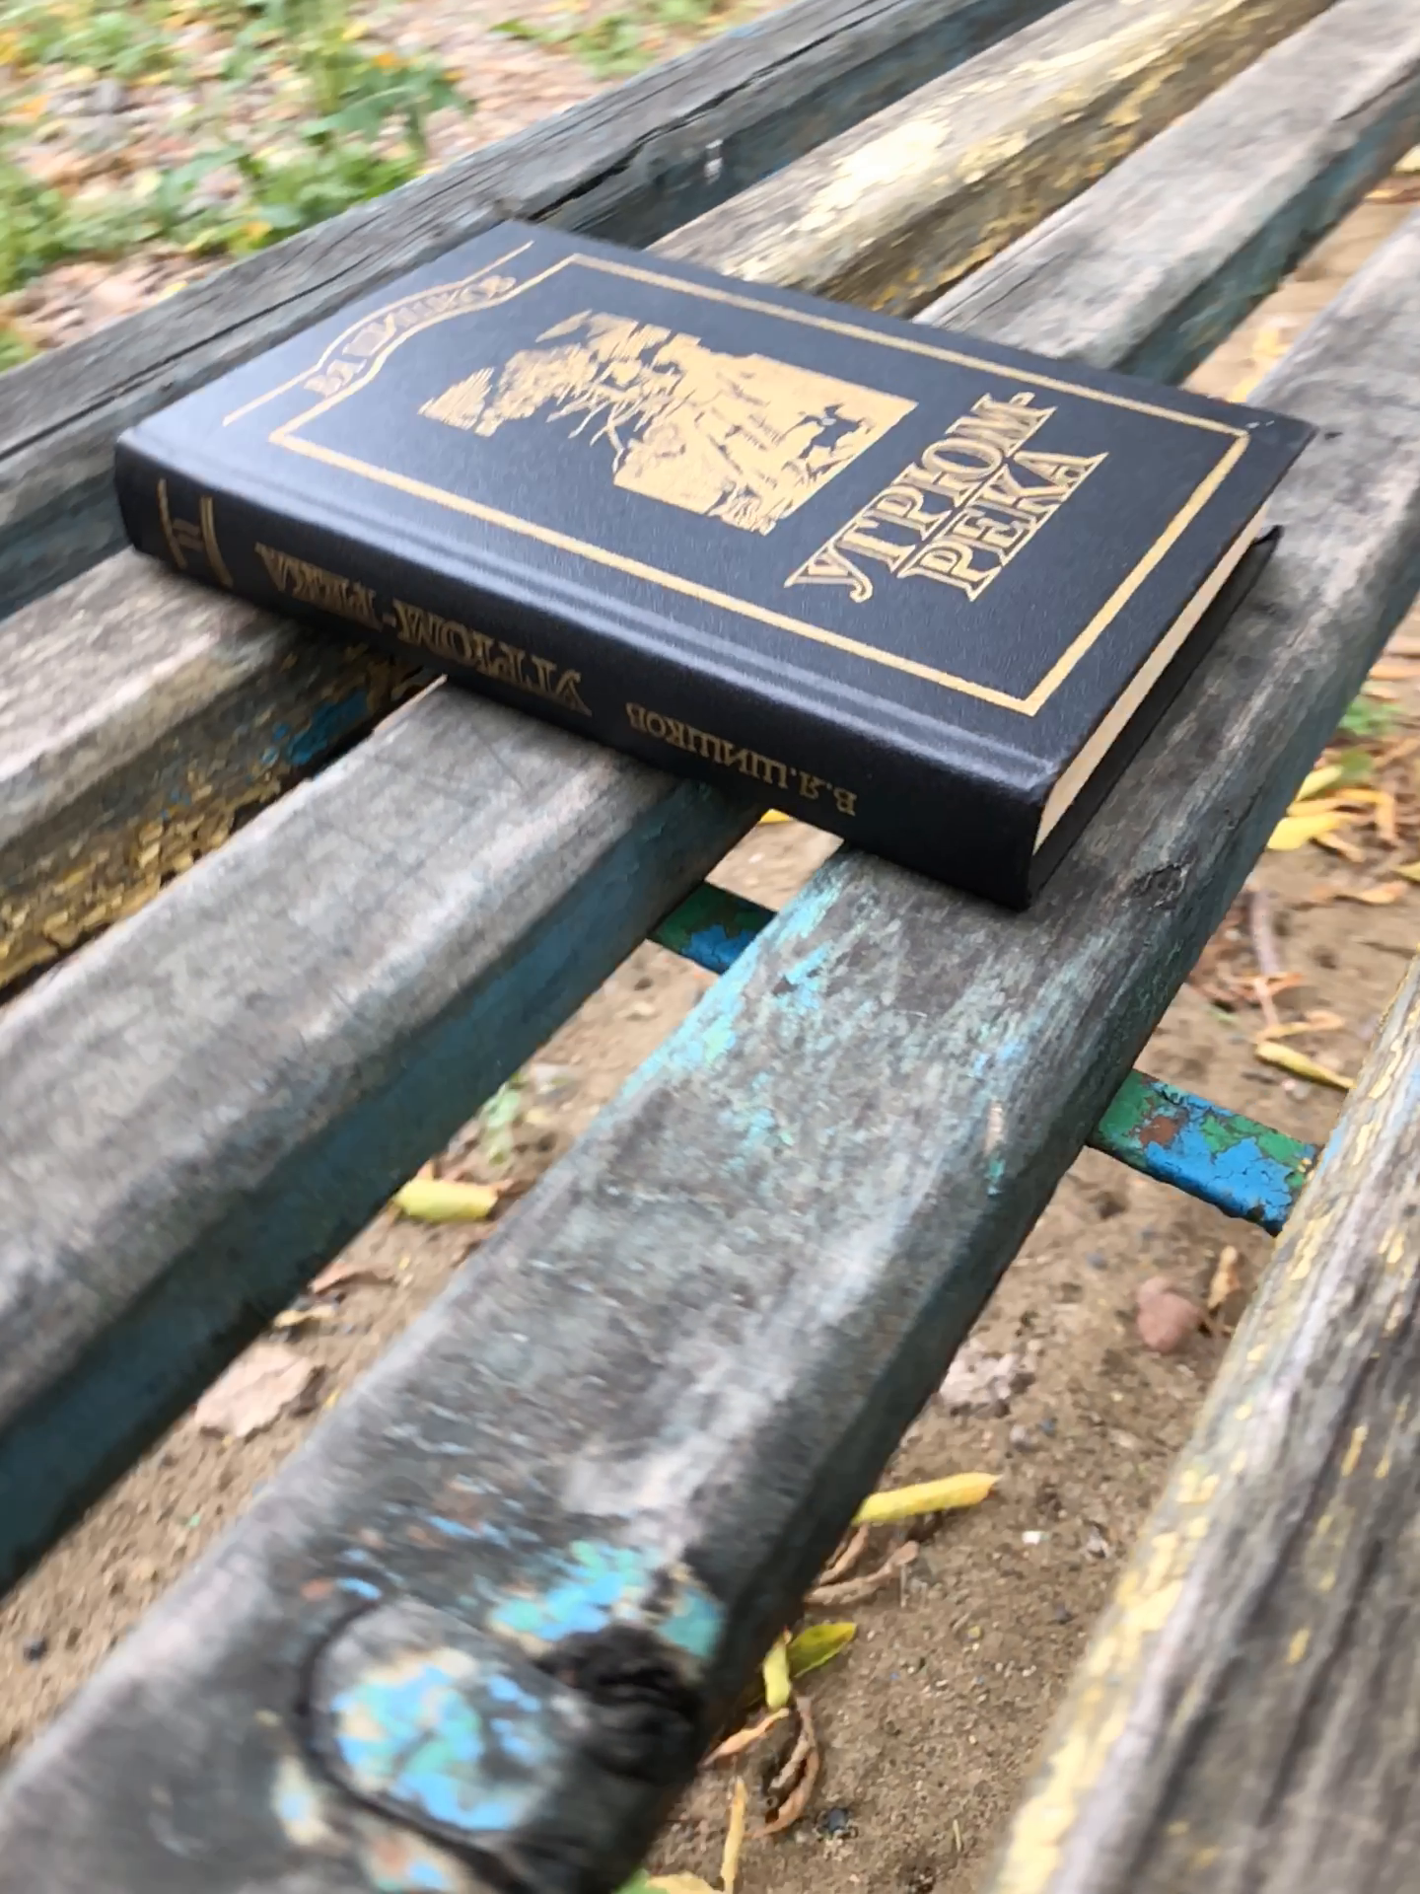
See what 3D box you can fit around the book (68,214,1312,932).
[{"bbox_3d":[-0.003,-0.094,0.328,0.210,0.030,0.138,24,50,22],"label":"book"}]
